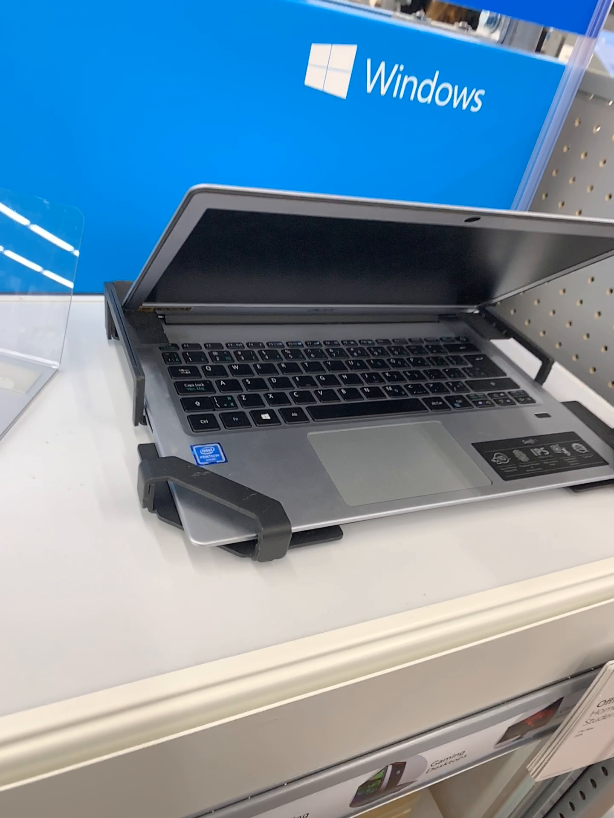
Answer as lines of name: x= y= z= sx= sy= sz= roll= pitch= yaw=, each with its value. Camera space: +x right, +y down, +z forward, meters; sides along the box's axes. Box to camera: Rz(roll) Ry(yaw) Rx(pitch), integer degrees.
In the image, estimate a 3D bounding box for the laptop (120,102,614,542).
laptop: x=0.060 y=-0.065 z=0.399 sx=0.308 sy=0.140 sz=0.198 roll=-4 pitch=40 yaw=-25
